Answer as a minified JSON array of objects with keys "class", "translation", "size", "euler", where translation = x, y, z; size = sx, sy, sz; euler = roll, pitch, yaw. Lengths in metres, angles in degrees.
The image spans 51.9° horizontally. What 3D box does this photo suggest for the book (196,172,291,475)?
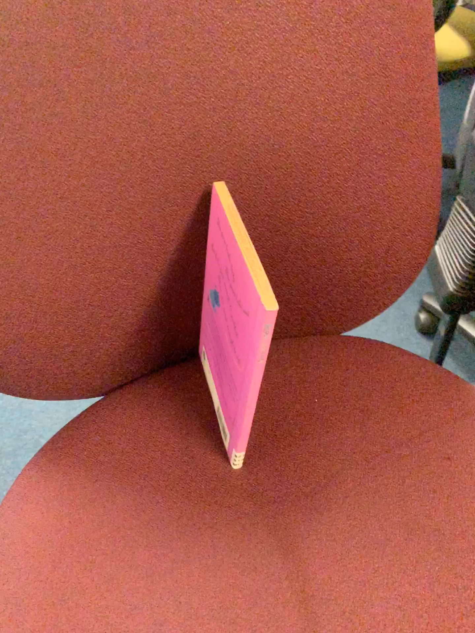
[{"class":"book","translation":[-0.006,0.011,0.376],"size":[0.017,0.189,0.142],"euler":[-7,47,-14]}]
